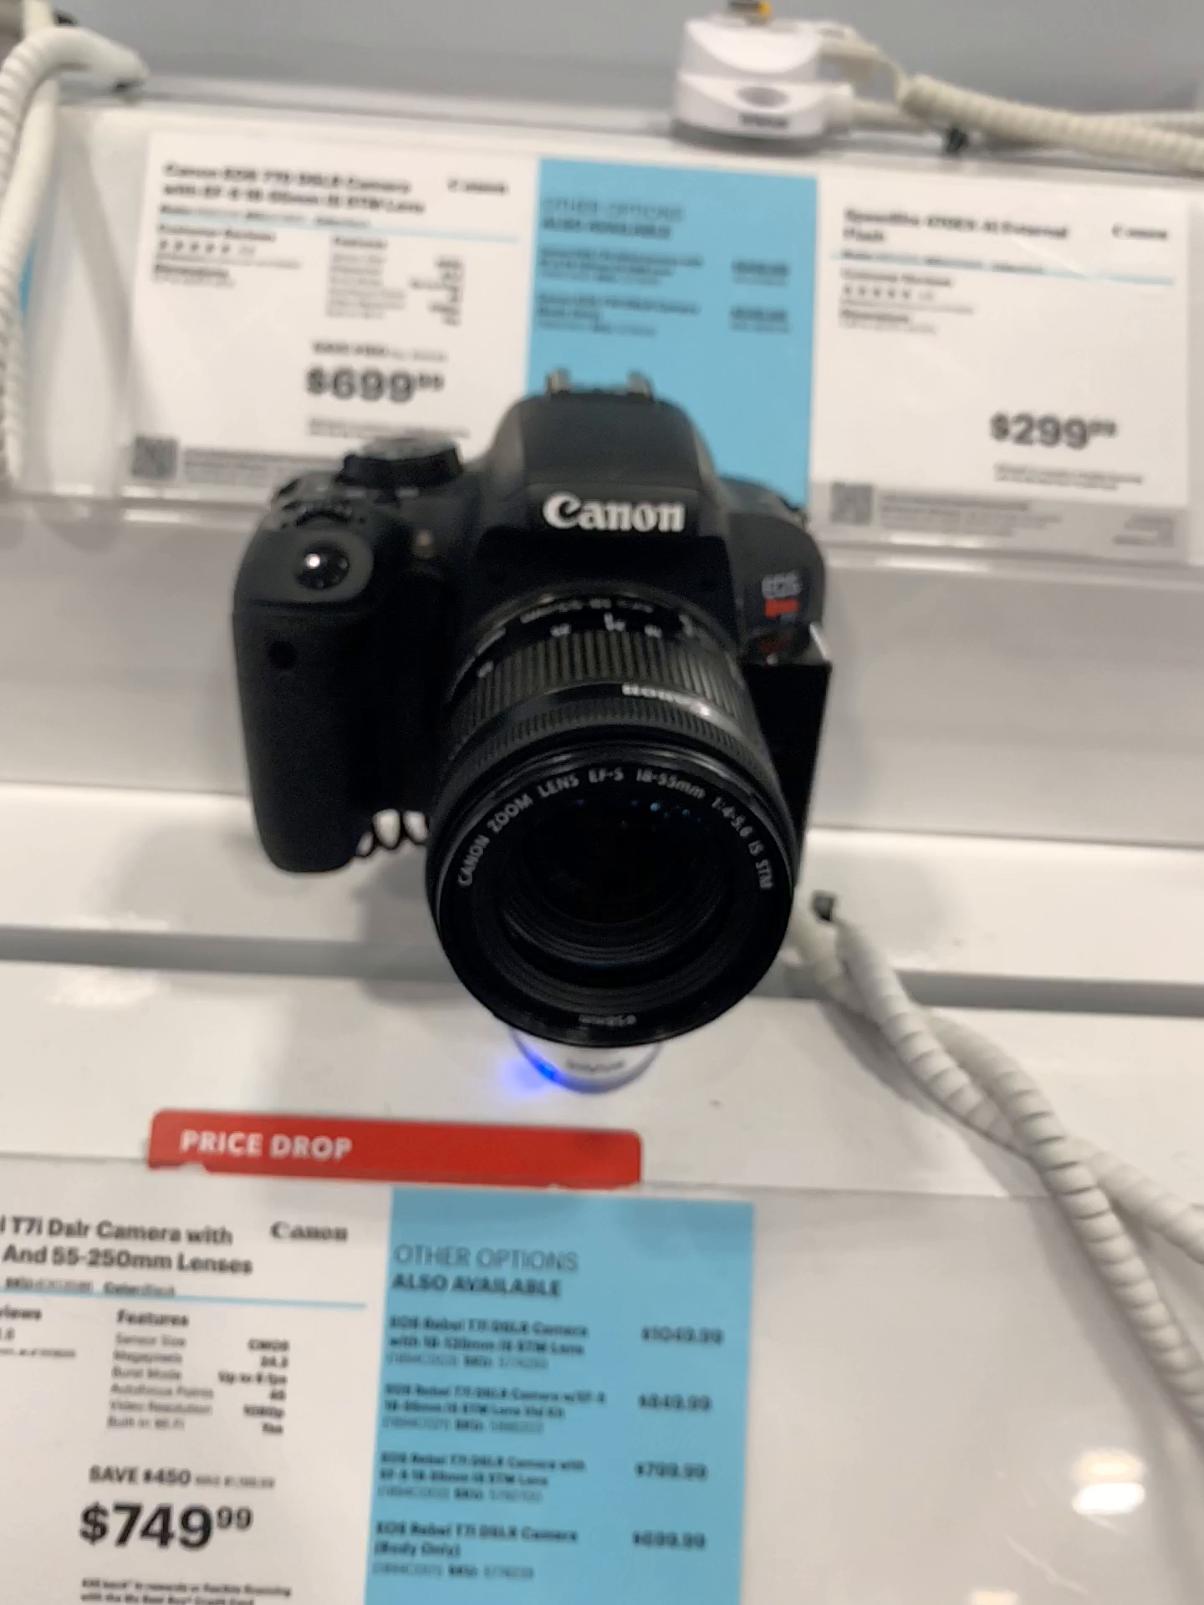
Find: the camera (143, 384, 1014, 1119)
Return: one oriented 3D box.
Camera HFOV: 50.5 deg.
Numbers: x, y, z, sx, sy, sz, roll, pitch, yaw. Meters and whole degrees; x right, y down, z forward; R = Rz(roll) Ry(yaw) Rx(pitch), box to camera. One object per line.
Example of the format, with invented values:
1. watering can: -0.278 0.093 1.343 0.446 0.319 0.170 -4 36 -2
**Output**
1. camera: -0.008 -0.020 0.275 0.130 0.099 0.139 0 32 -4
